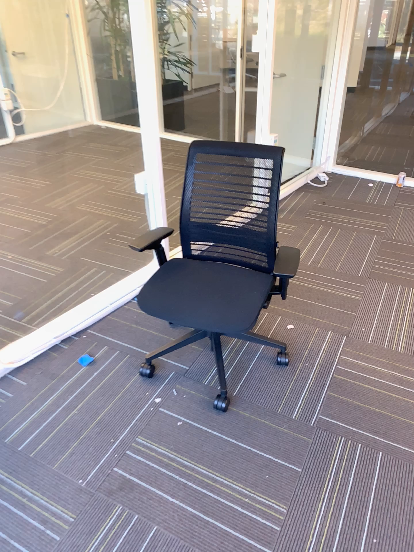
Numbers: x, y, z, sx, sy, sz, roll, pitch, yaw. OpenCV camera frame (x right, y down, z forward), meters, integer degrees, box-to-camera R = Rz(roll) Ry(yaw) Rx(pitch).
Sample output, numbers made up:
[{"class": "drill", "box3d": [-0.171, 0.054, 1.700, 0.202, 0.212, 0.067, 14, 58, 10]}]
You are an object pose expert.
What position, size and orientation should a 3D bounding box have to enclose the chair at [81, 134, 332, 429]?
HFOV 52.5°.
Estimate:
[{"class": "chair", "box3d": [0.050, -0.035, 1.767, 0.691, 0.875, 0.713, 13, 35, 20]}]
